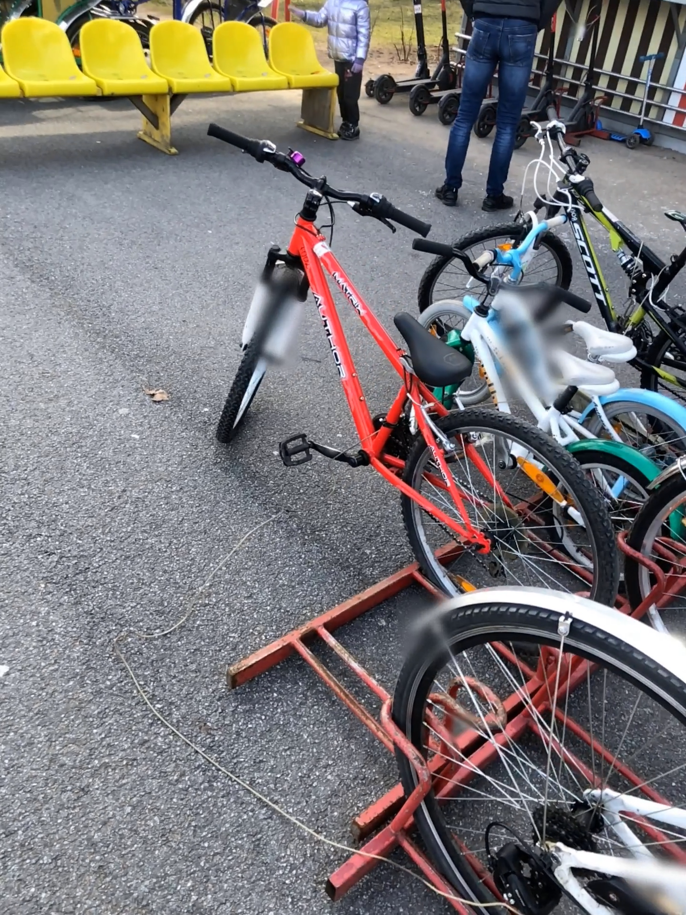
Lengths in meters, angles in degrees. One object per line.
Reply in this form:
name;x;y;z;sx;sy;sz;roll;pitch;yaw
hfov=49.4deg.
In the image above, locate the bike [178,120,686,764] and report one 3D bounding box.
bike;0.129;-0.197;1.872;0.552;0.908;1.449;-17;40;-27
